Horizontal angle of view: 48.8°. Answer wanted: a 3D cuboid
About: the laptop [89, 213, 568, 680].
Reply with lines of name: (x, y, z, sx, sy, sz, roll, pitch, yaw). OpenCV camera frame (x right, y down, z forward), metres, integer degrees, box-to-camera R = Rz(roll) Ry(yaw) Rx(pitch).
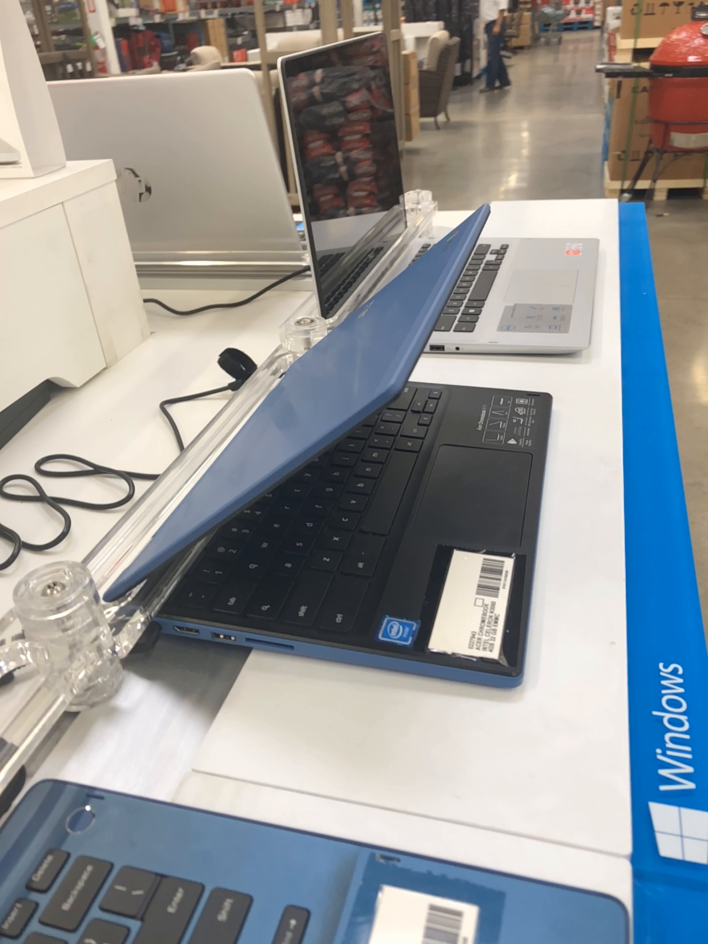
laptop: (0.020, -0.046, 0.438, 0.184, 0.128, 0.281, 5, 31, 12)

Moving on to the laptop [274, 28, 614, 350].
laptop: (0.114, -0.297, 0.760, 0.245, 0.216, 0.356, 6, 32, 14)
